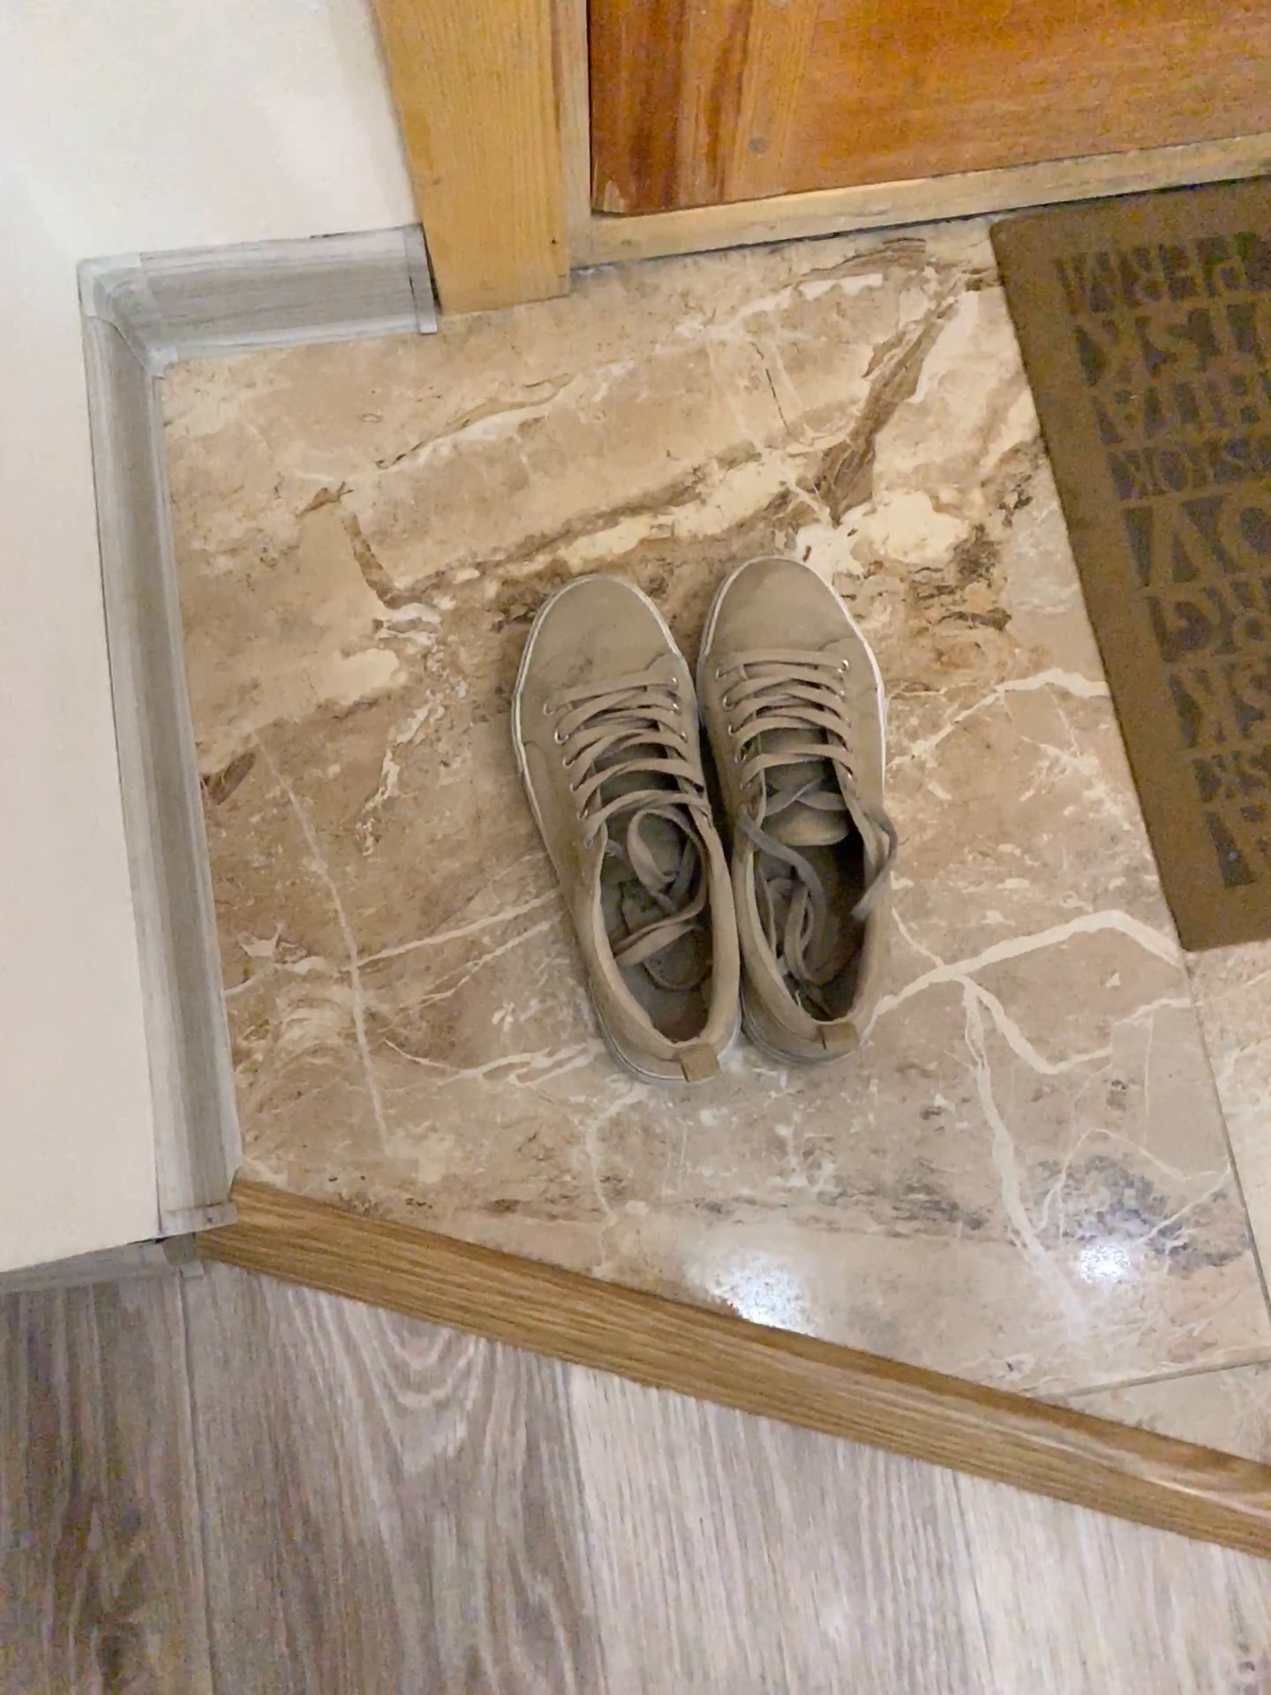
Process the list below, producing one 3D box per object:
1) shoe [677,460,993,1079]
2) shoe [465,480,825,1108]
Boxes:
[{"bbox_3d":[0.077,-0.028,0.558,0.090,0.100,0.240,-5,77,-2],"label":"shoe"},{"bbox_3d":[0.000,-0.018,0.564,0.090,0.100,0.240,-13,78,-4],"label":"shoe"}]
